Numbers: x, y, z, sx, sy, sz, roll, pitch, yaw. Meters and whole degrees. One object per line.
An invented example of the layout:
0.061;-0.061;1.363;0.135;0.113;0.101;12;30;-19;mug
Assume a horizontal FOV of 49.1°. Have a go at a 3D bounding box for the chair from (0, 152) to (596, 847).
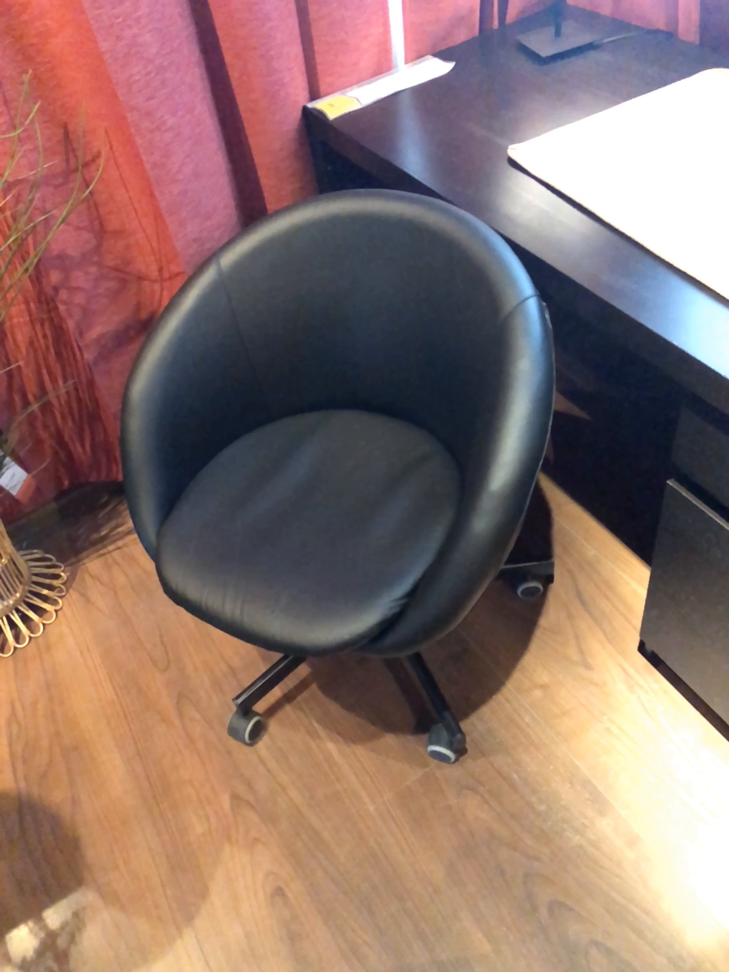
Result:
-0.072;0.006;1.156;0.631;0.696;0.572;13;52;22;chair
